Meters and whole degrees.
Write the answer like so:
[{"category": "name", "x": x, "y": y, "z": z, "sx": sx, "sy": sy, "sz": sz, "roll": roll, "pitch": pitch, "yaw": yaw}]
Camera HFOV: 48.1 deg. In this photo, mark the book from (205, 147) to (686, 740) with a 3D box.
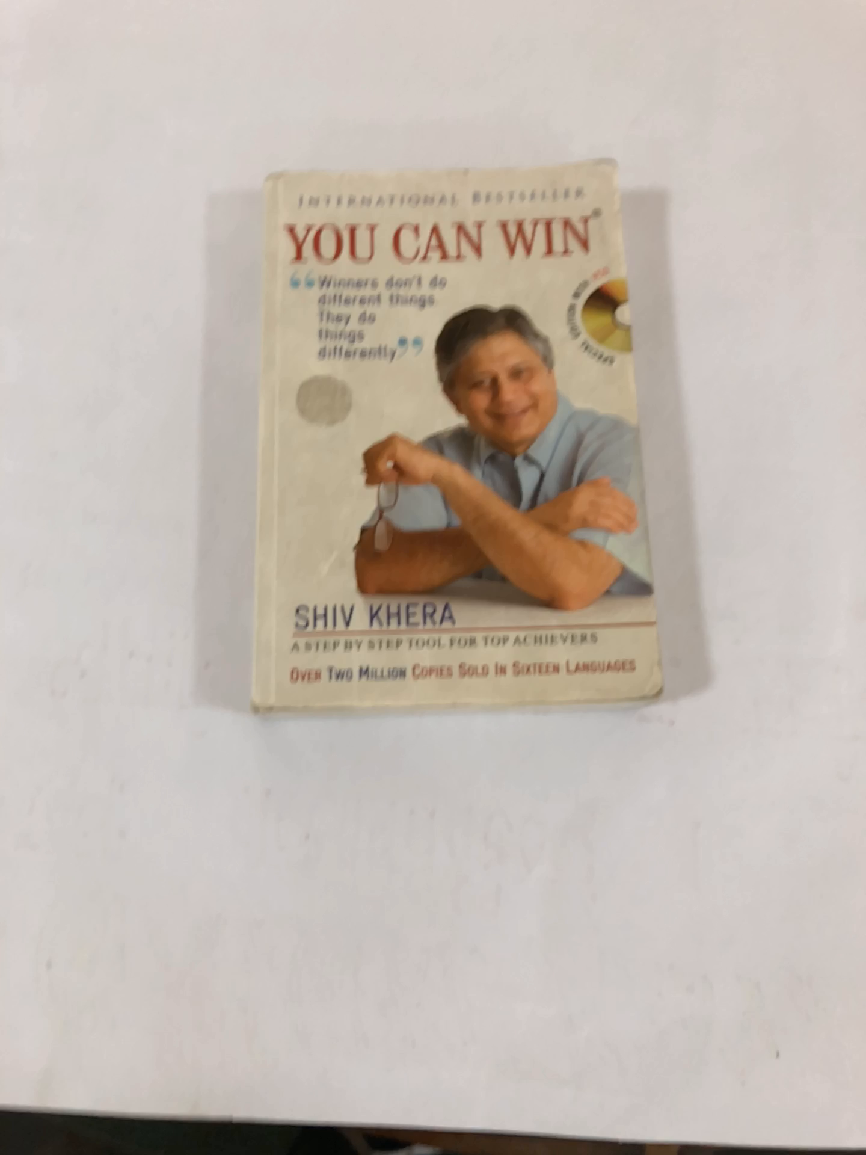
[{"category": "book", "x": 0.000, "y": -0.052, "z": 0.349, "sx": 0.150, "sy": 0.040, "sz": 0.210, "roll": -1, "pitch": 75, "yaw": -2}]
